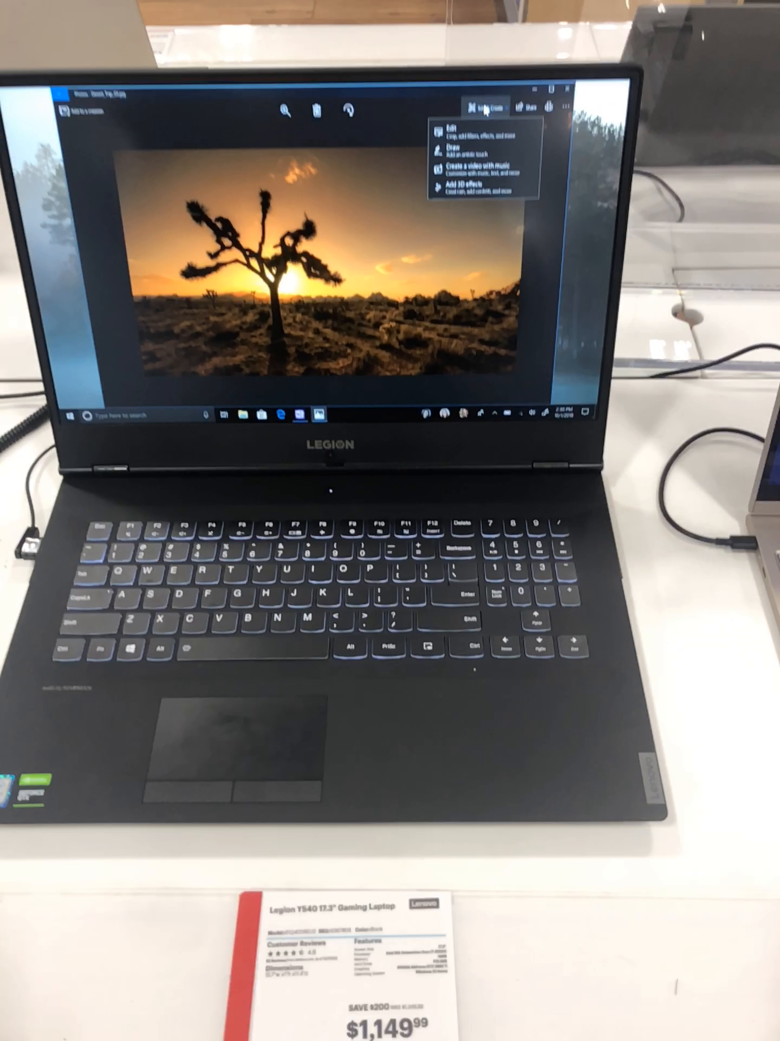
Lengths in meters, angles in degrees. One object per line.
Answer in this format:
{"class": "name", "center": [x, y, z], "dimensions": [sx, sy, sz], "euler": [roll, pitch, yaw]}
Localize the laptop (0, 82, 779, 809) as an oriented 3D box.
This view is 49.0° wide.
{"class": "laptop", "center": [-0.044, -0.052, 0.502], "dimensions": [0.382, 0.241, 0.359], "euler": [0, 50, -1]}
